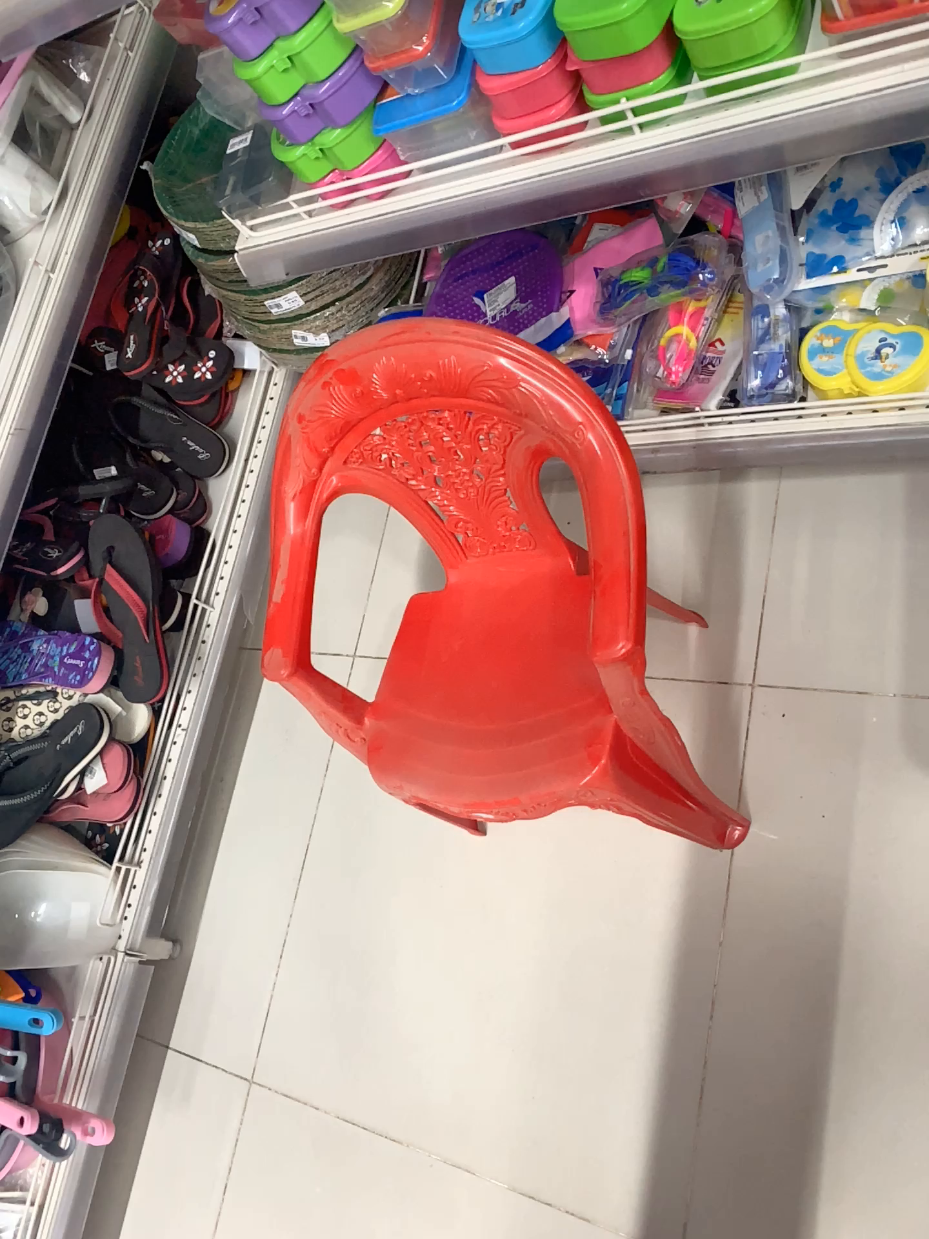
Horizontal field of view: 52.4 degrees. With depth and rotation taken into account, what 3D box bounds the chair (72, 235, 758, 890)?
[{"bbox_3d":[0.007,0.008,0.922,0.412,0.498,0.410,-3,70,31],"label":"chair"}]
